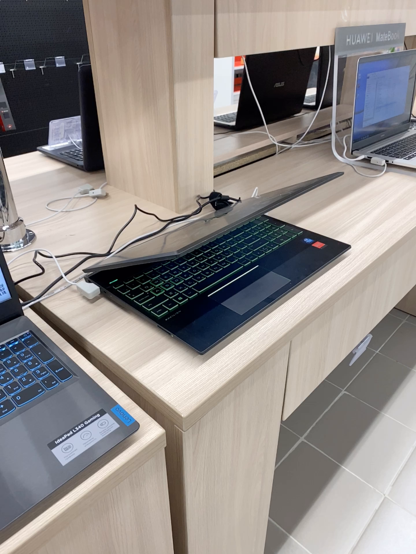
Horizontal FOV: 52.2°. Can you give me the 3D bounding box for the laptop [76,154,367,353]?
[{"bbox_3d":[0.034,-0.071,0.640,0.235,0.108,0.365,27,40,36],"label":"laptop"}]
